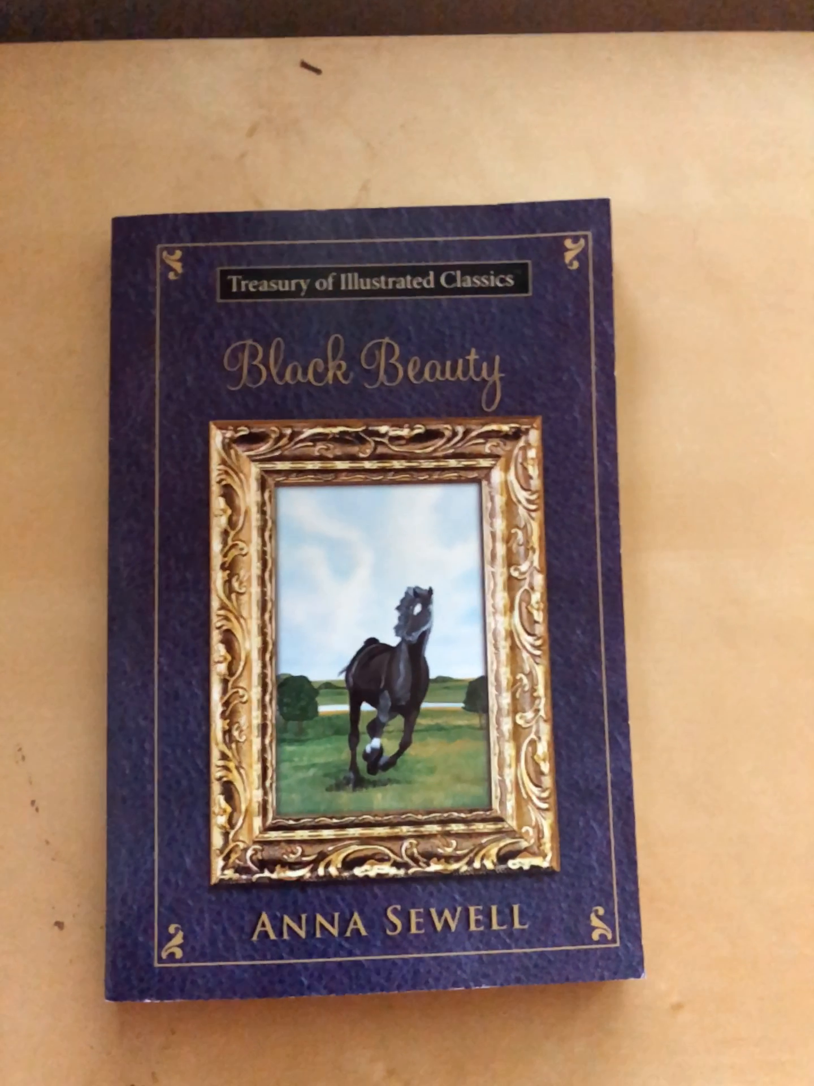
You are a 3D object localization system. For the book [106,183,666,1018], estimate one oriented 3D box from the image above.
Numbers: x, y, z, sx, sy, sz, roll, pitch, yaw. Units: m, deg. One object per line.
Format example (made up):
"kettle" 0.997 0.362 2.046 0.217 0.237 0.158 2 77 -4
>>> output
"book" -0.007 0.010 0.225 0.126 0.025 0.193 -1 85 0
